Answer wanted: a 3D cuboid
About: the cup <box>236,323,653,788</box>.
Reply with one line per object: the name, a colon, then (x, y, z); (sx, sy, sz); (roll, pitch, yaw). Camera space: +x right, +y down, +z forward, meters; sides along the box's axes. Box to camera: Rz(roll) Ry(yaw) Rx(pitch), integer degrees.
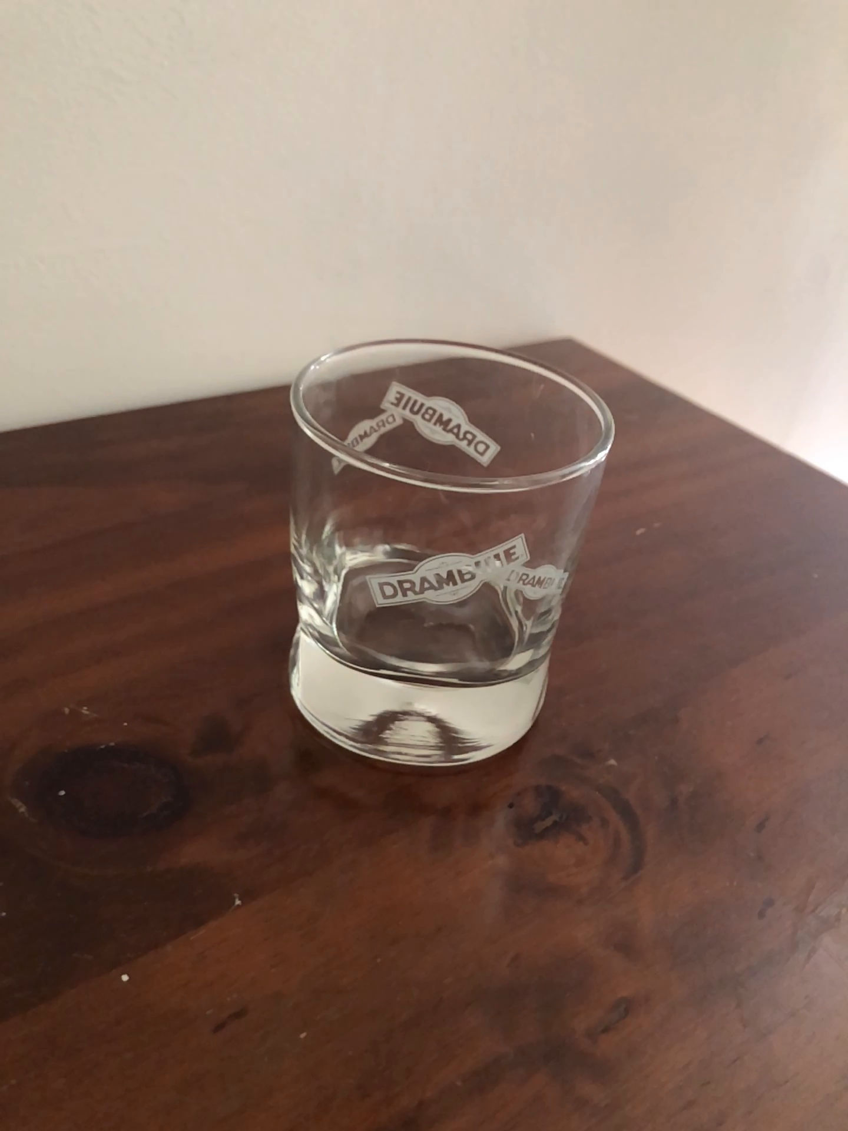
cup: (0.000, -0.005, 0.242); (0.082, 0.080, 0.081); (6, 33, -4)
